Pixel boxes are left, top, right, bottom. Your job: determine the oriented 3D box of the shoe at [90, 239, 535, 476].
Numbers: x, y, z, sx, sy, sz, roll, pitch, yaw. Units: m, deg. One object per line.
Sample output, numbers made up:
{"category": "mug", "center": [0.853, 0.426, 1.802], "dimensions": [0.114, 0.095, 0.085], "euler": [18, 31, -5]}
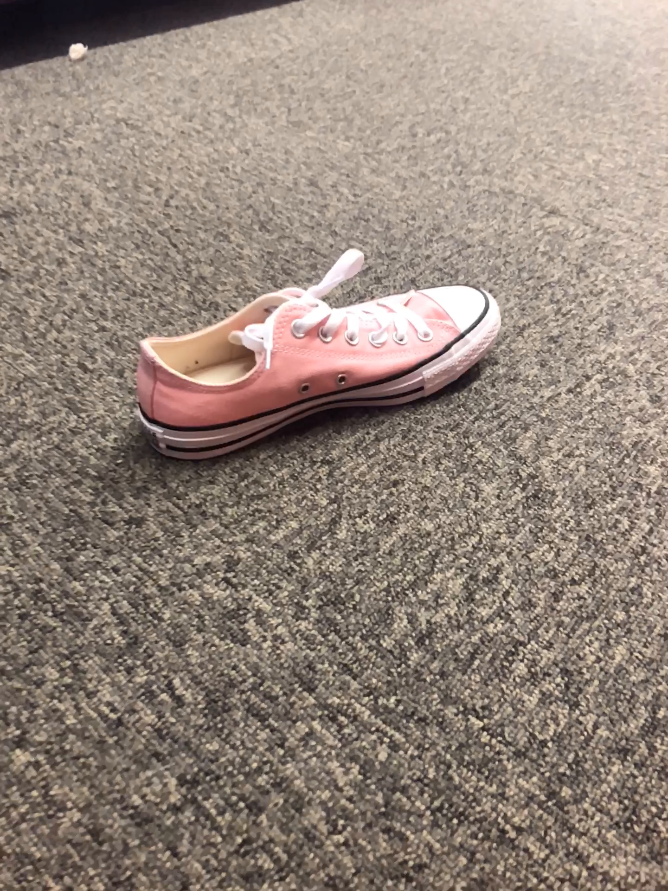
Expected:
{"category": "shoe", "center": [-0.008, -0.072, 0.502], "dimensions": [0.281, 0.060, 0.100], "euler": [-17, 46, -25]}
